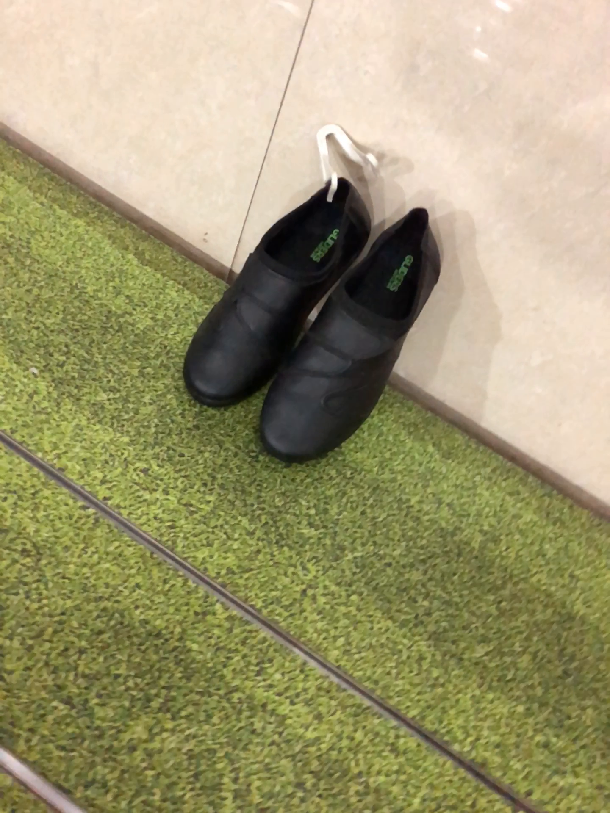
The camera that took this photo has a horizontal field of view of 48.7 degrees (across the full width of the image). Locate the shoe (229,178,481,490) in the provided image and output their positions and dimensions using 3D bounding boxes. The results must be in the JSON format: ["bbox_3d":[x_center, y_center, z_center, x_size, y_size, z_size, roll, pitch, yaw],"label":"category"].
[{"bbox_3d":[0.044,-0.056,0.600,0.087,0.248,0.107,32,175,7],"label":"shoe"}]

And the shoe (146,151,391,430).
[{"bbox_3d":[-0.028,-0.098,0.578,0.074,0.228,0.067,37,169,4],"label":"shoe"}]
